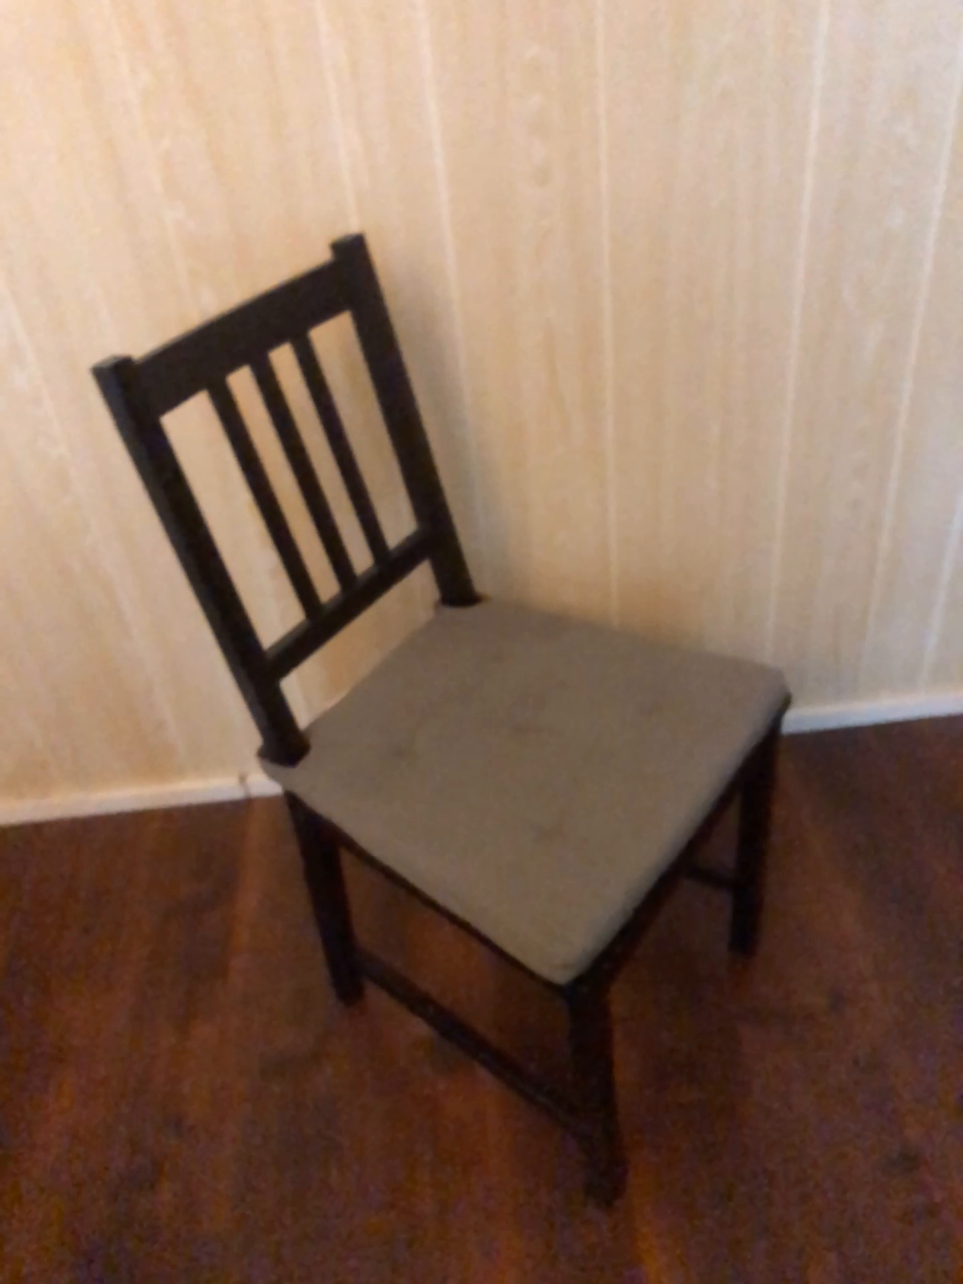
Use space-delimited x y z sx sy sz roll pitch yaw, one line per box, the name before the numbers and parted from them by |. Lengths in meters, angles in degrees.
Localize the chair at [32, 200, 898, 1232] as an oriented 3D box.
chair | 0.028 0.076 1.085 0.512 0.834 0.442 21 46 30
